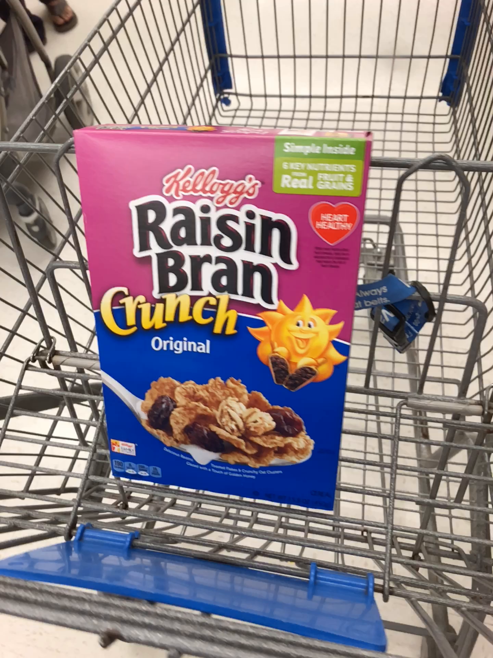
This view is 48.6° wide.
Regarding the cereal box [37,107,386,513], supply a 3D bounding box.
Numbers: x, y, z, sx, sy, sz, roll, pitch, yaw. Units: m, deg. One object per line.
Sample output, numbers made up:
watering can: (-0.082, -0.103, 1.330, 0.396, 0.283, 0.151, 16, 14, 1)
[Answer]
cereal box: (-0.021, -0.010, 0.402, 0.210, 0.280, 0.060, 6, 25, 11)
